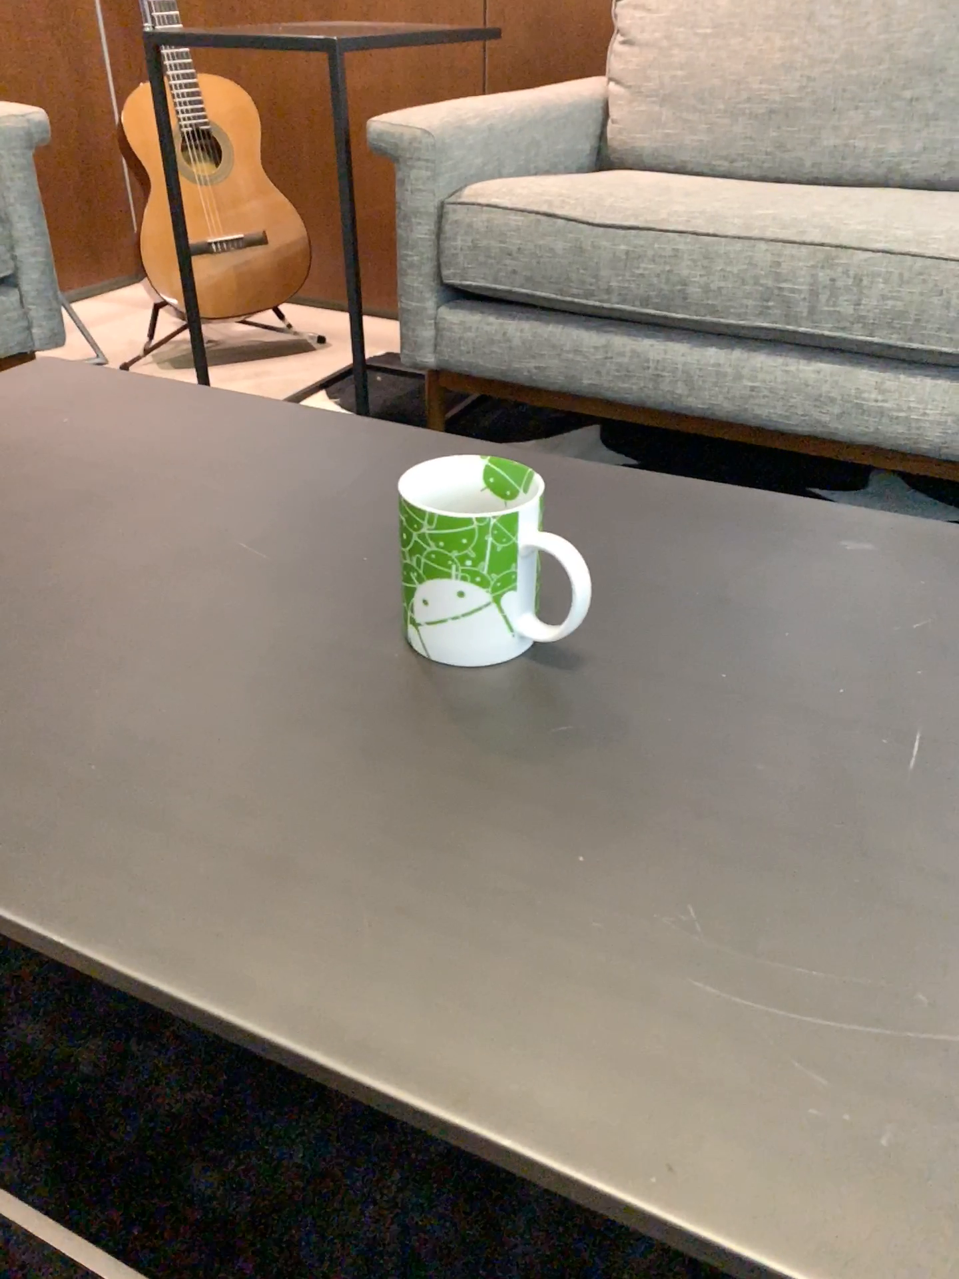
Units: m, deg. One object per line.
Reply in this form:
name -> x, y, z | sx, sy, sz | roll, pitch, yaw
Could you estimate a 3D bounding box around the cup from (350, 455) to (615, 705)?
cup -> 0.004, -0.037, 0.551 | 0.120, 0.090, 0.090 | 11, 34, 16
